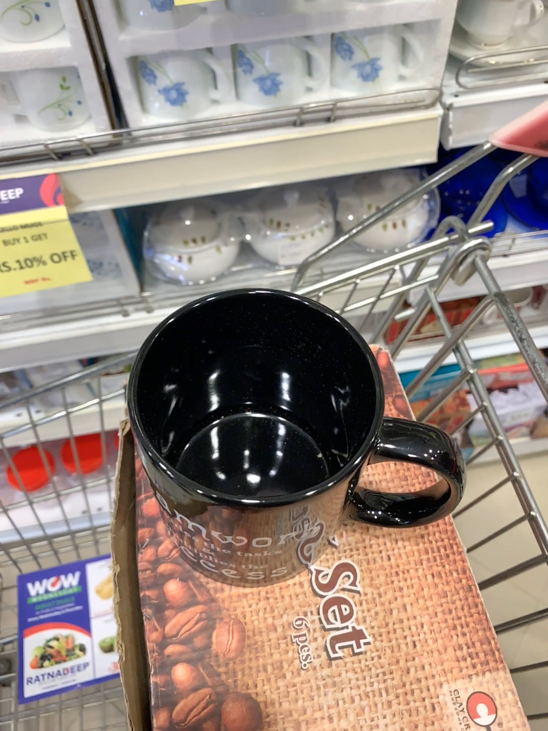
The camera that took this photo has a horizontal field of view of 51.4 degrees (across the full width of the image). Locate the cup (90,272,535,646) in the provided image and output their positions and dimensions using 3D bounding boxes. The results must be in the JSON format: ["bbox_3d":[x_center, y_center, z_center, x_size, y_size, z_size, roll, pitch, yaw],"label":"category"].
[{"bbox_3d":[0.014,0.041,0.215,0.120,0.100,0.080,15,60,4],"label":"cup"}]
